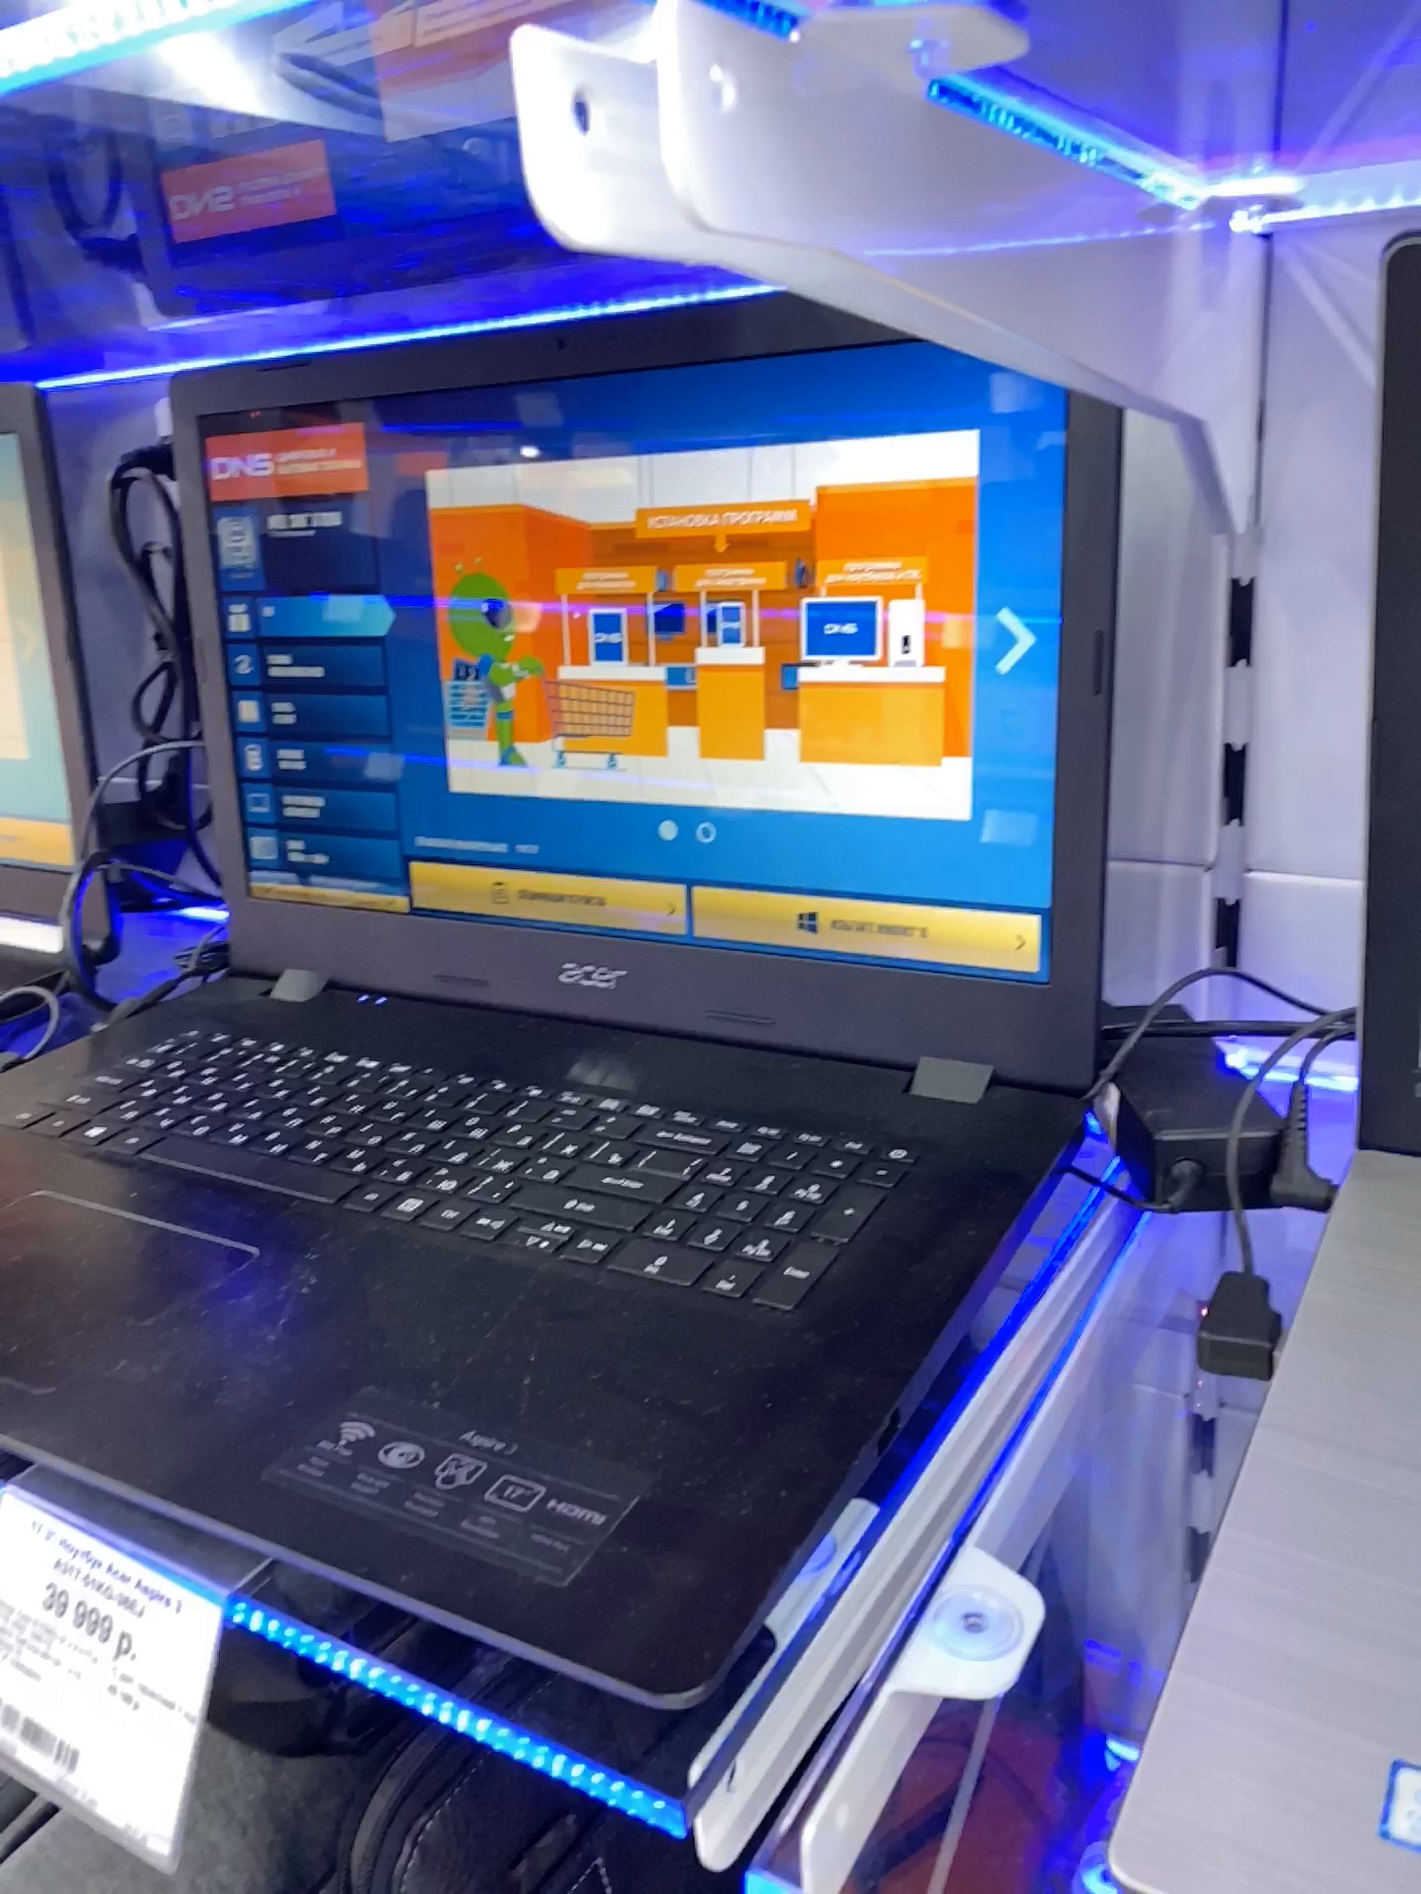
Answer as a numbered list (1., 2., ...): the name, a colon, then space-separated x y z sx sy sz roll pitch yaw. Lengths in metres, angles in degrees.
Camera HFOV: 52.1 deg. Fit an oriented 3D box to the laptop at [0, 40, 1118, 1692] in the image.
1. laptop: -0.122 -0.060 0.470 0.422 0.273 0.327 6 20 28
